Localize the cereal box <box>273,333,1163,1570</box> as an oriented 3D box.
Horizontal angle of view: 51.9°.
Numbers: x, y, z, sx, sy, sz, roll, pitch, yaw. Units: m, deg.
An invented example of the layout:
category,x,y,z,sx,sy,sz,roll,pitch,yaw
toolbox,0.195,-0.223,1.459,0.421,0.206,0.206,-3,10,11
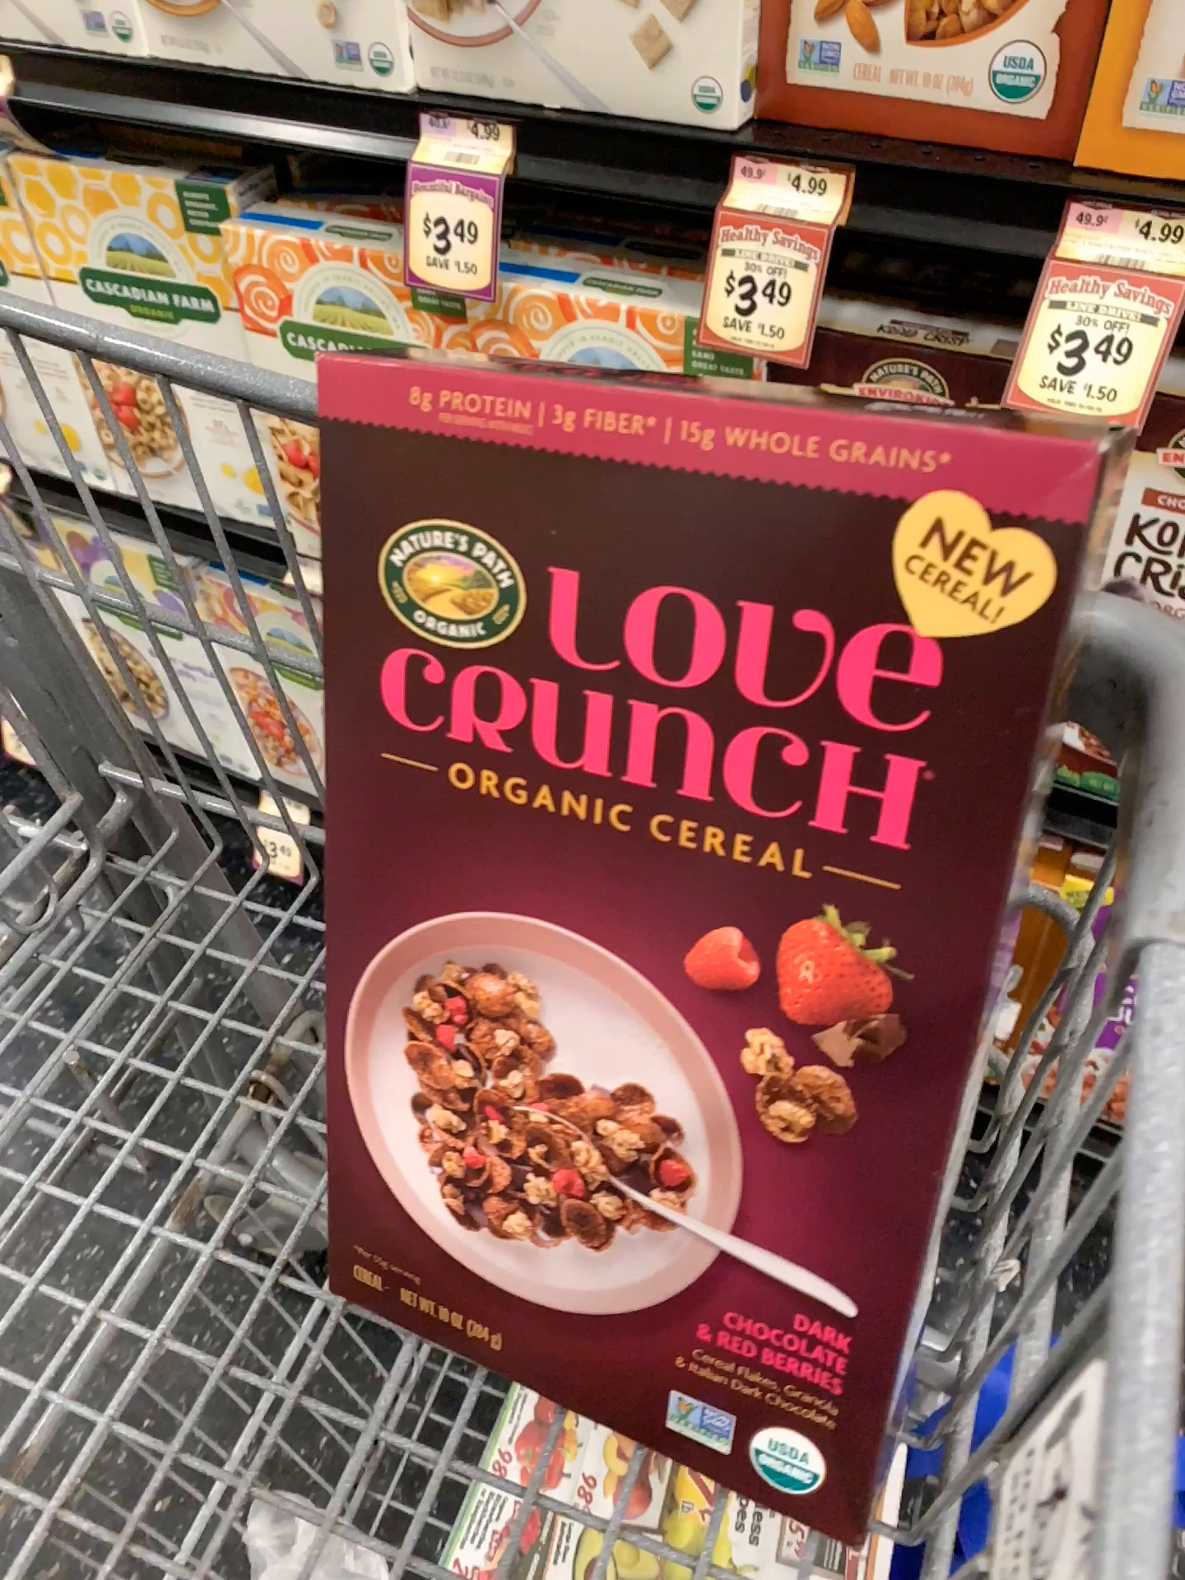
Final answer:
category,x,y,z,sx,sy,sz,roll,pitch,yaw
cereal box,0.013,0.035,0.283,0.160,0.249,0.060,15,26,23
